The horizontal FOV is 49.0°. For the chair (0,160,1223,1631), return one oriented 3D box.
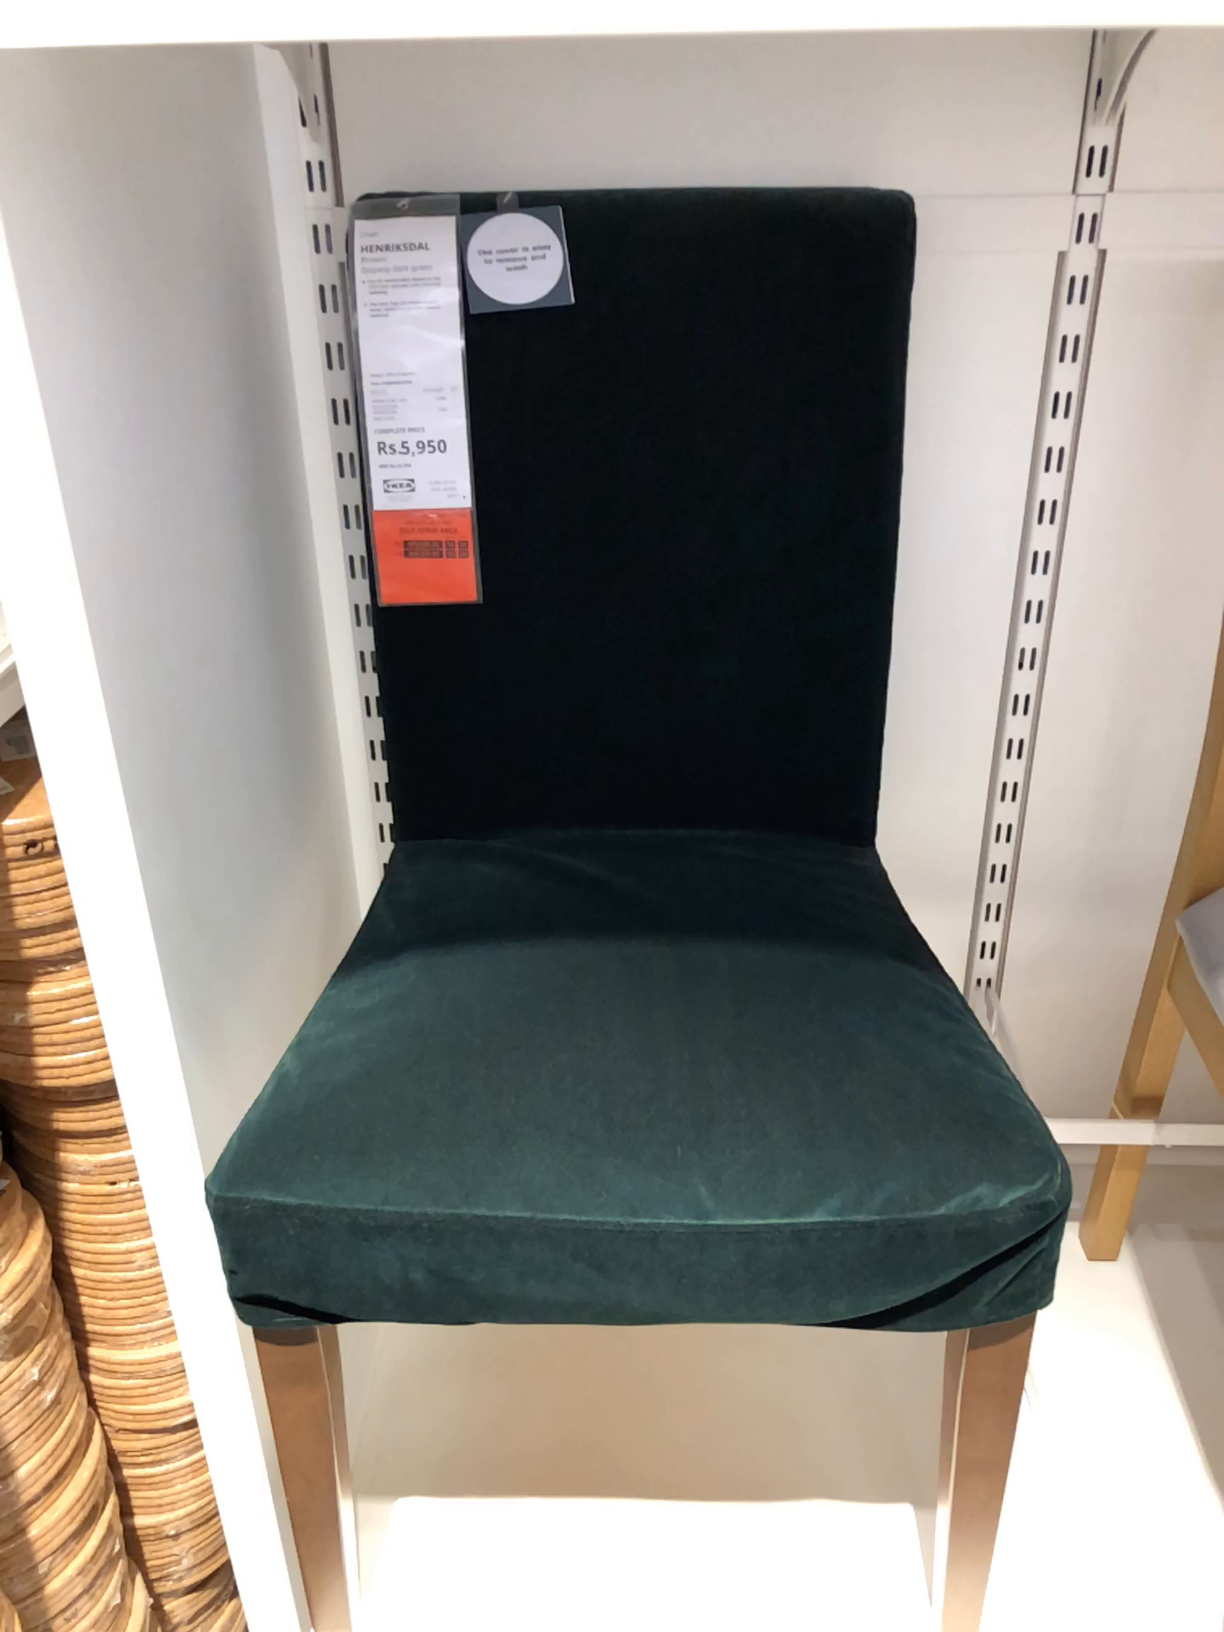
[{"bbox_3d":[0.014,0.070,0.928,0.470,0.914,0.513,-1,28,0],"label":"chair"}]
